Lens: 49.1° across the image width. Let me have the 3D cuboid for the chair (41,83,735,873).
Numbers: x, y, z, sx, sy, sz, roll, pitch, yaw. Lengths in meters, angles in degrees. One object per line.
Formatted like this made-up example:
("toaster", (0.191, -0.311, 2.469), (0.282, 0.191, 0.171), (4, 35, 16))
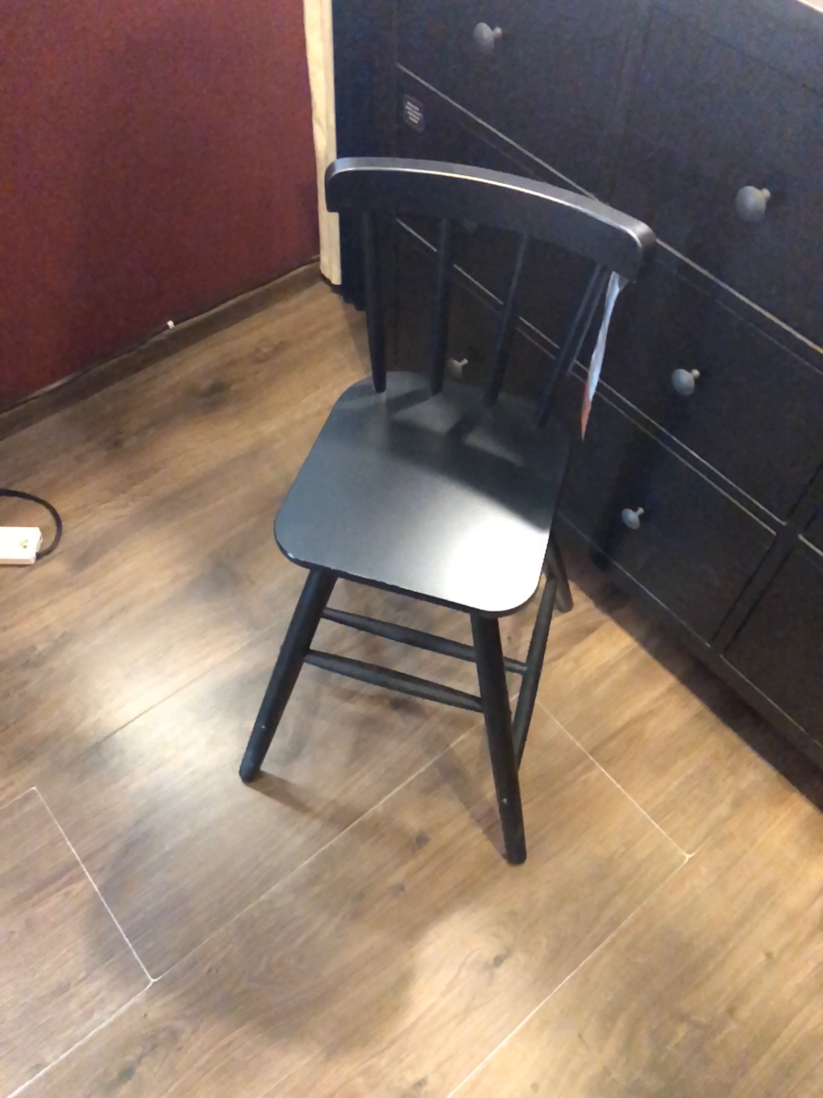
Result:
("chair", (0.011, -0.024, 1.037), (0.450, 0.716, 0.472), (14, 56, 9))
